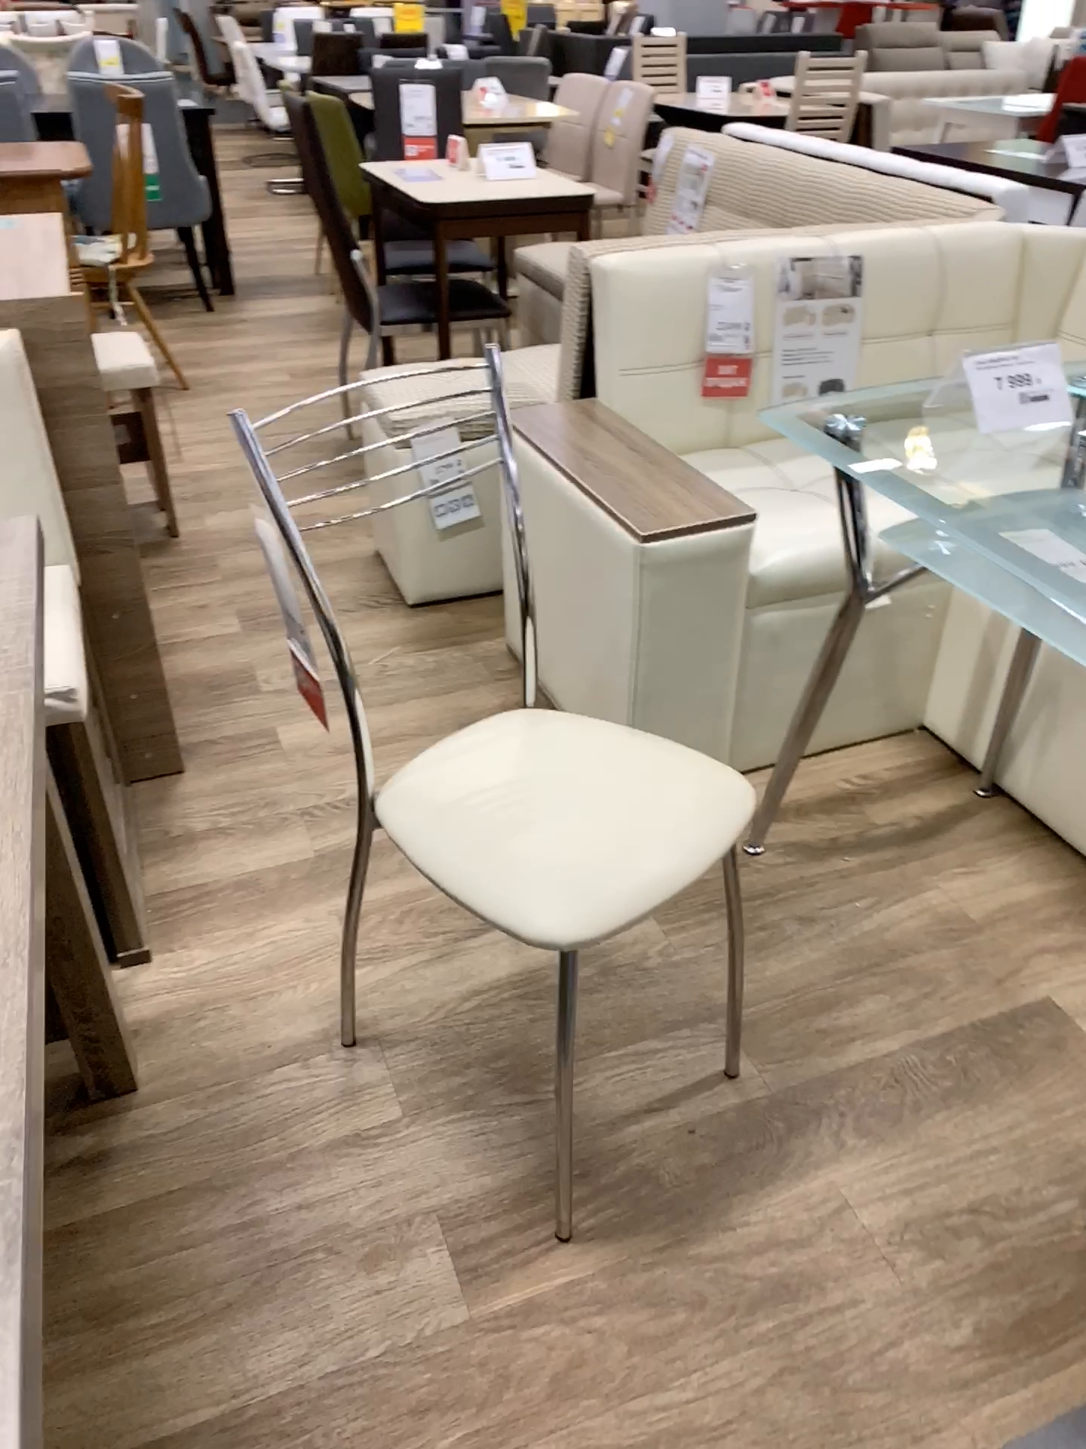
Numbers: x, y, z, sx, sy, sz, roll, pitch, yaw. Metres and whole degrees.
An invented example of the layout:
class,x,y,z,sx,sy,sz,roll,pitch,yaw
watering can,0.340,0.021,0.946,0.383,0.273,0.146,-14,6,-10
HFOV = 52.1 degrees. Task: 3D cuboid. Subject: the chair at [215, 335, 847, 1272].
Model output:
class,x,y,z,sx,sy,sz,roll,pitch,yaw
chair,-0.021,0.098,1.374,0.414,0.967,0.481,-28,43,-36
